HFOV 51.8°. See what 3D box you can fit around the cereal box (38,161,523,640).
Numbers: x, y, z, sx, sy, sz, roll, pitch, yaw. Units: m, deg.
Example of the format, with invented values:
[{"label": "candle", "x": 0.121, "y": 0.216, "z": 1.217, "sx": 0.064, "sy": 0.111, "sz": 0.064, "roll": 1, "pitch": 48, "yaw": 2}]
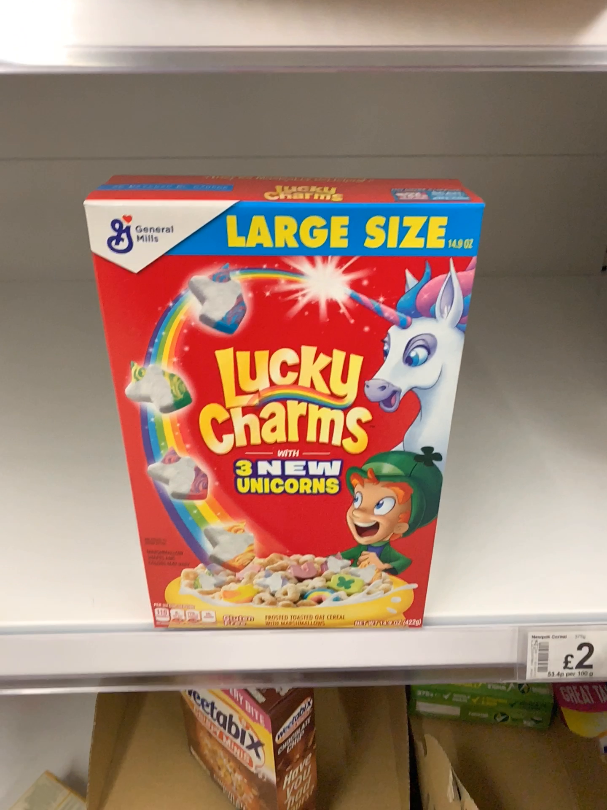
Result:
[{"label": "cereal box", "x": -0.009, "y": 0.013, "z": 0.373, "sx": 0.210, "sy": 0.287, "sz": 0.071, "roll": 0, "pitch": 30, "yaw": 0}]
